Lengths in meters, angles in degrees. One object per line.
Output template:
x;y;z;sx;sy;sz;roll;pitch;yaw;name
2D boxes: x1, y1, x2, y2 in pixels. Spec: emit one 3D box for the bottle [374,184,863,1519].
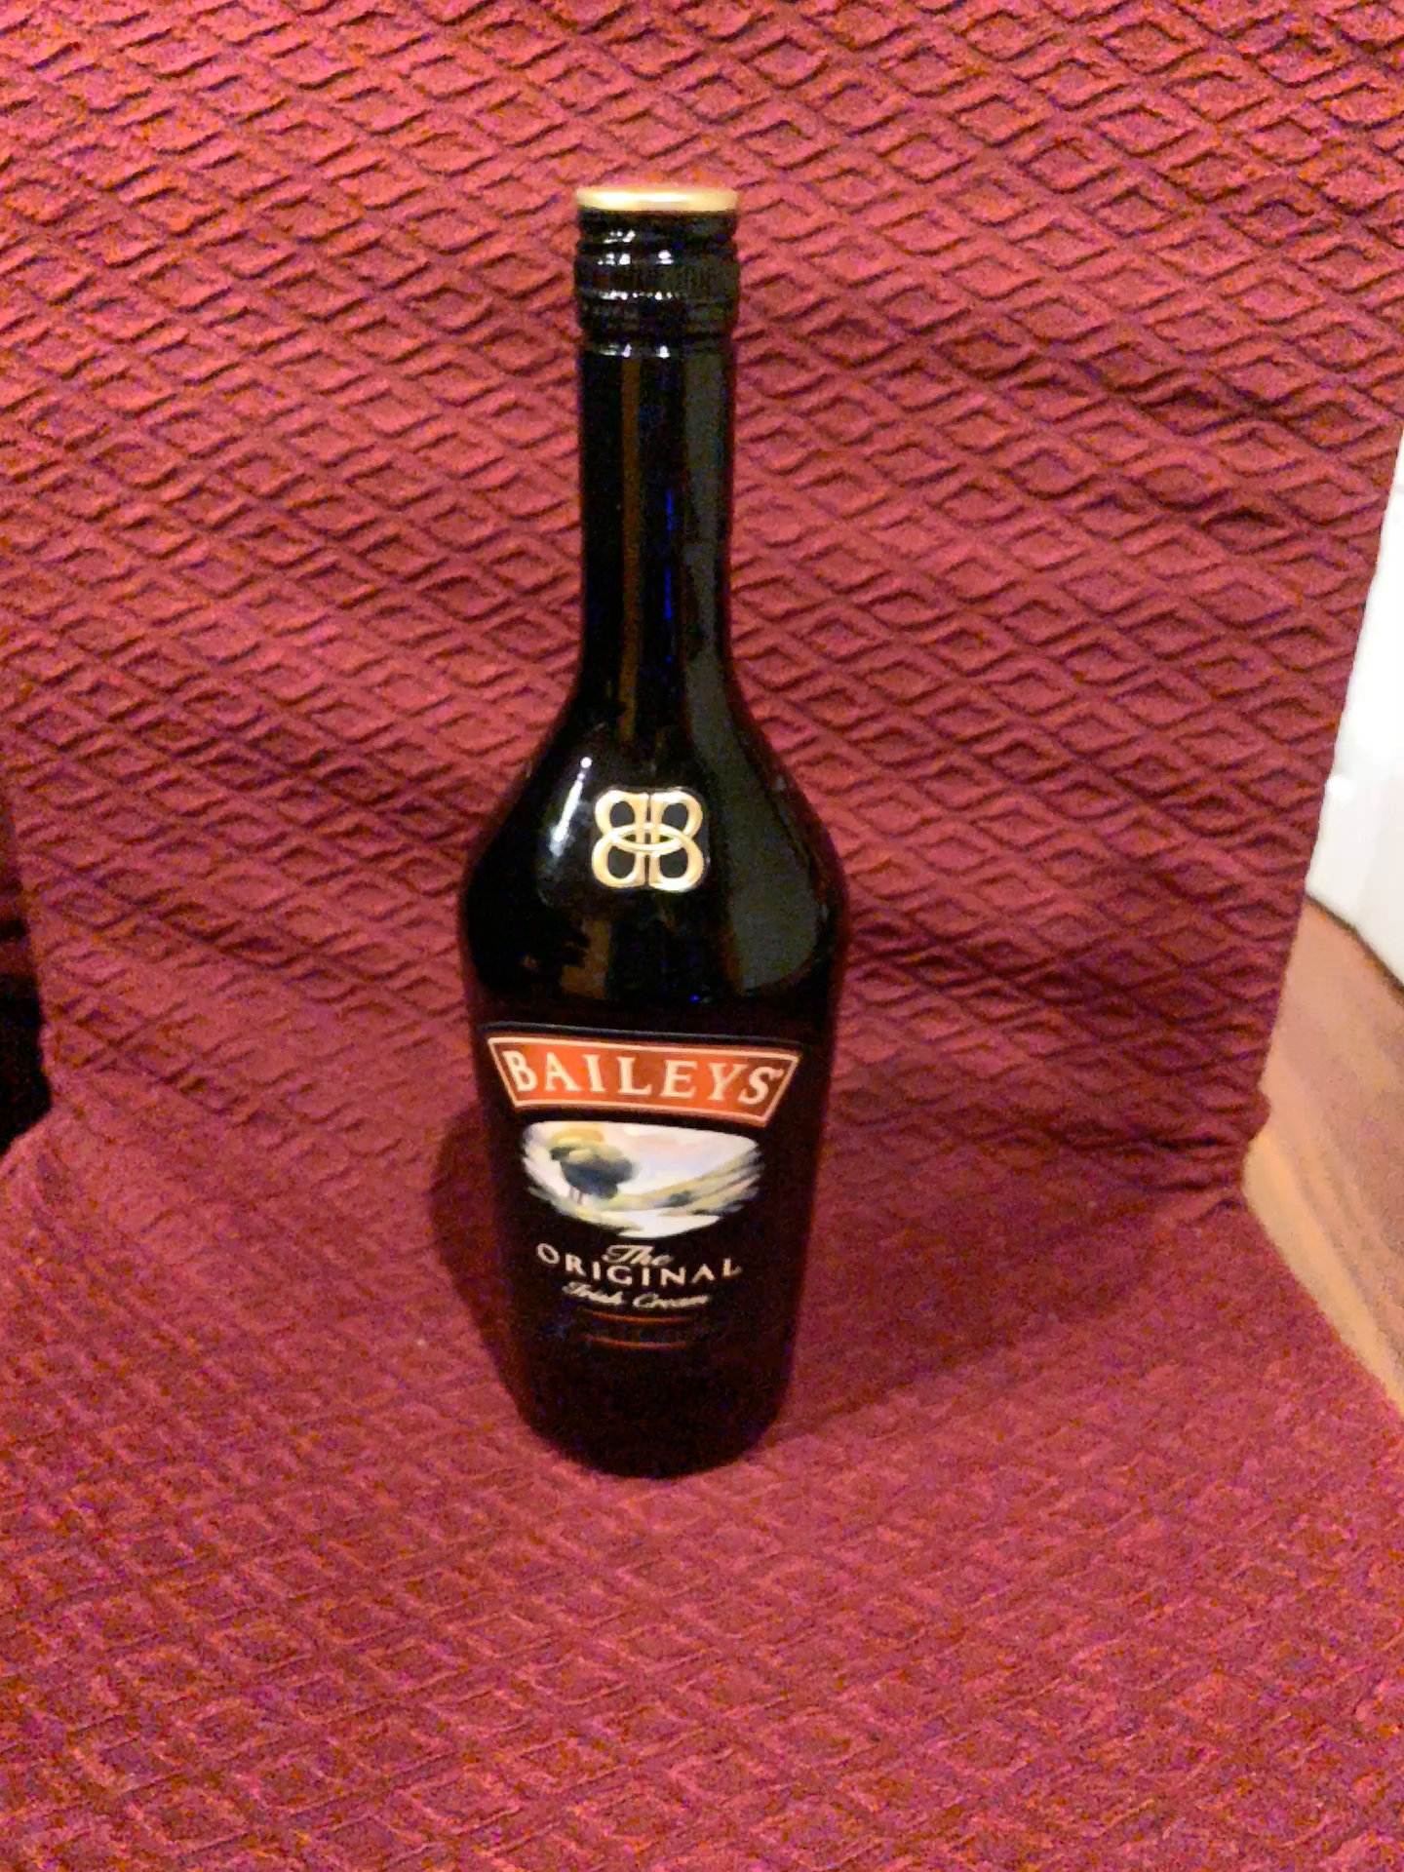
-0.014;-0.006;0.331;0.080;0.289;0.070;2;25;3;bottle
